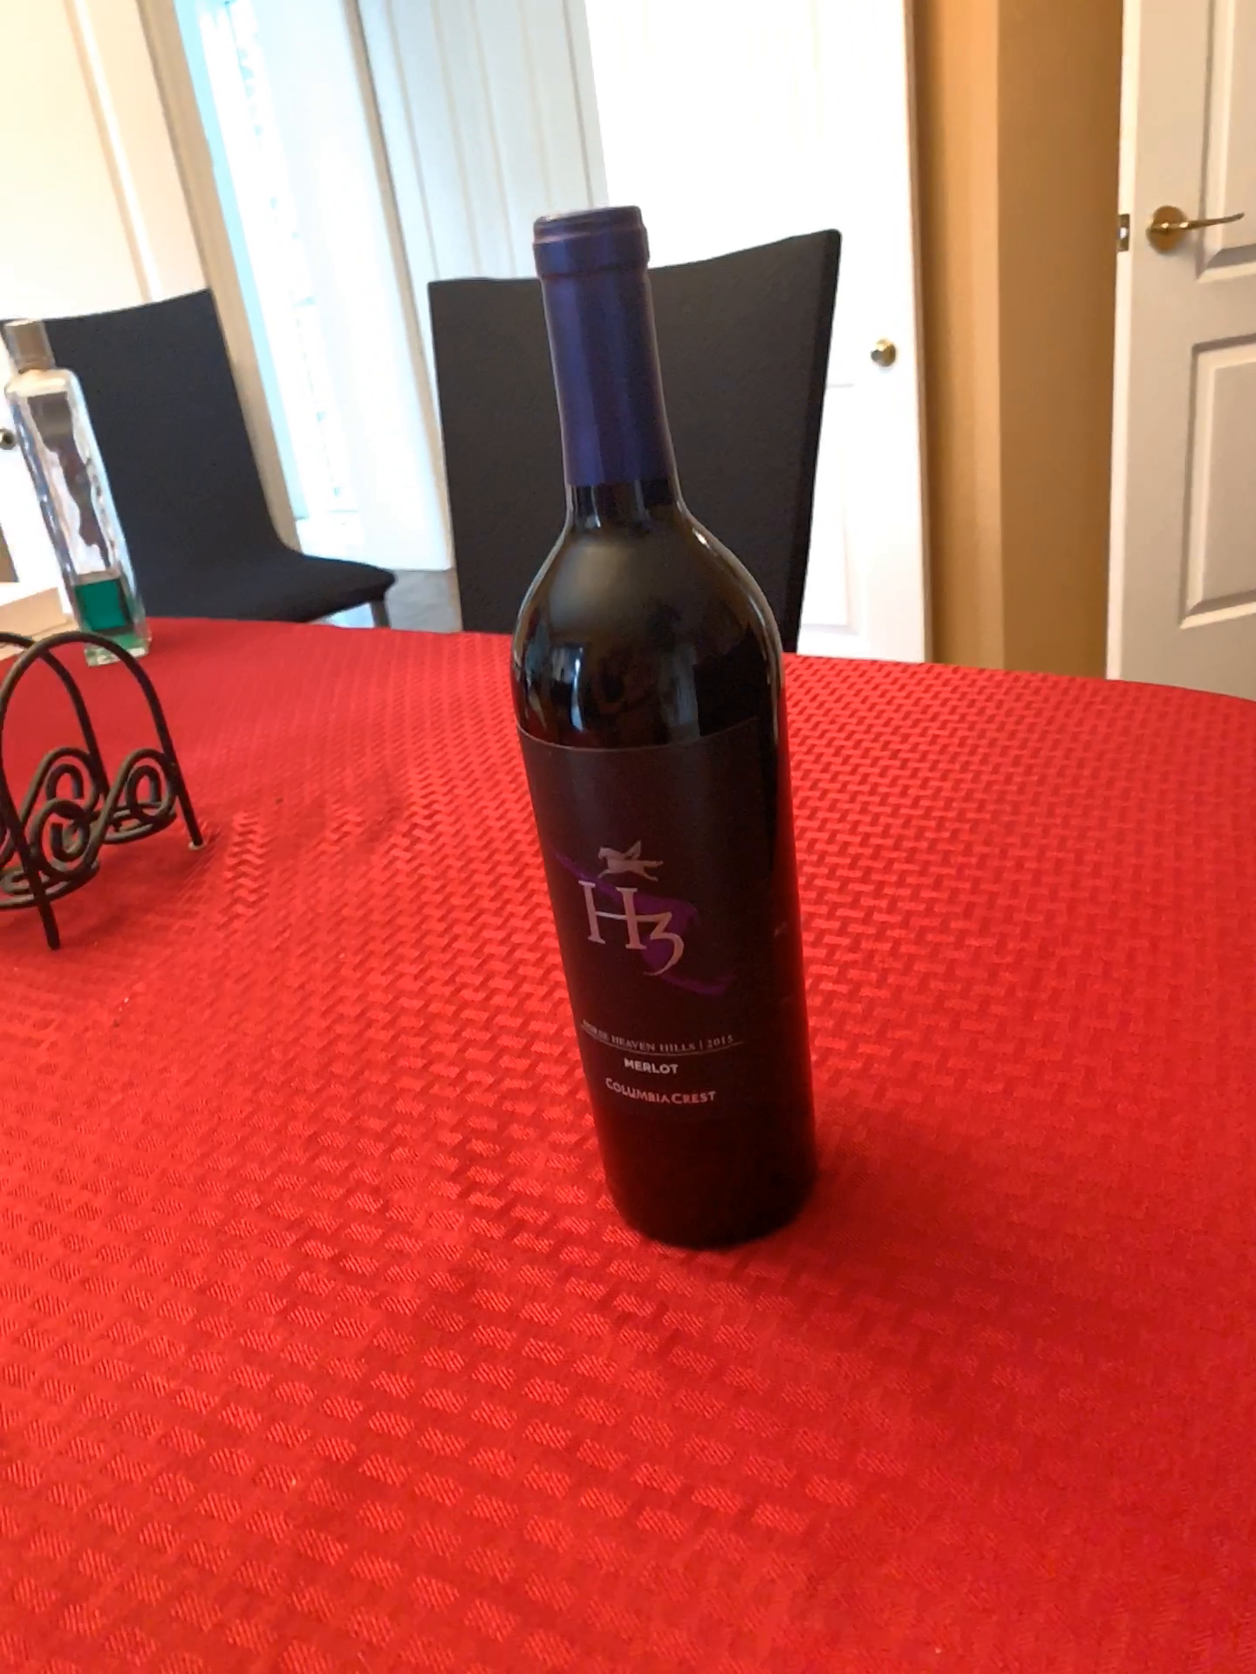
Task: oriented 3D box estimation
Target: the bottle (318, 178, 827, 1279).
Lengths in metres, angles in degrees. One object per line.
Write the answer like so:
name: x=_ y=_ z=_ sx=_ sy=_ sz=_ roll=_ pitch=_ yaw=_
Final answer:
bottle: x=0.000 y=-0.019 z=0.365 sx=0.080 sy=0.289 sz=0.080 roll=-7 pitch=25 yaw=3
